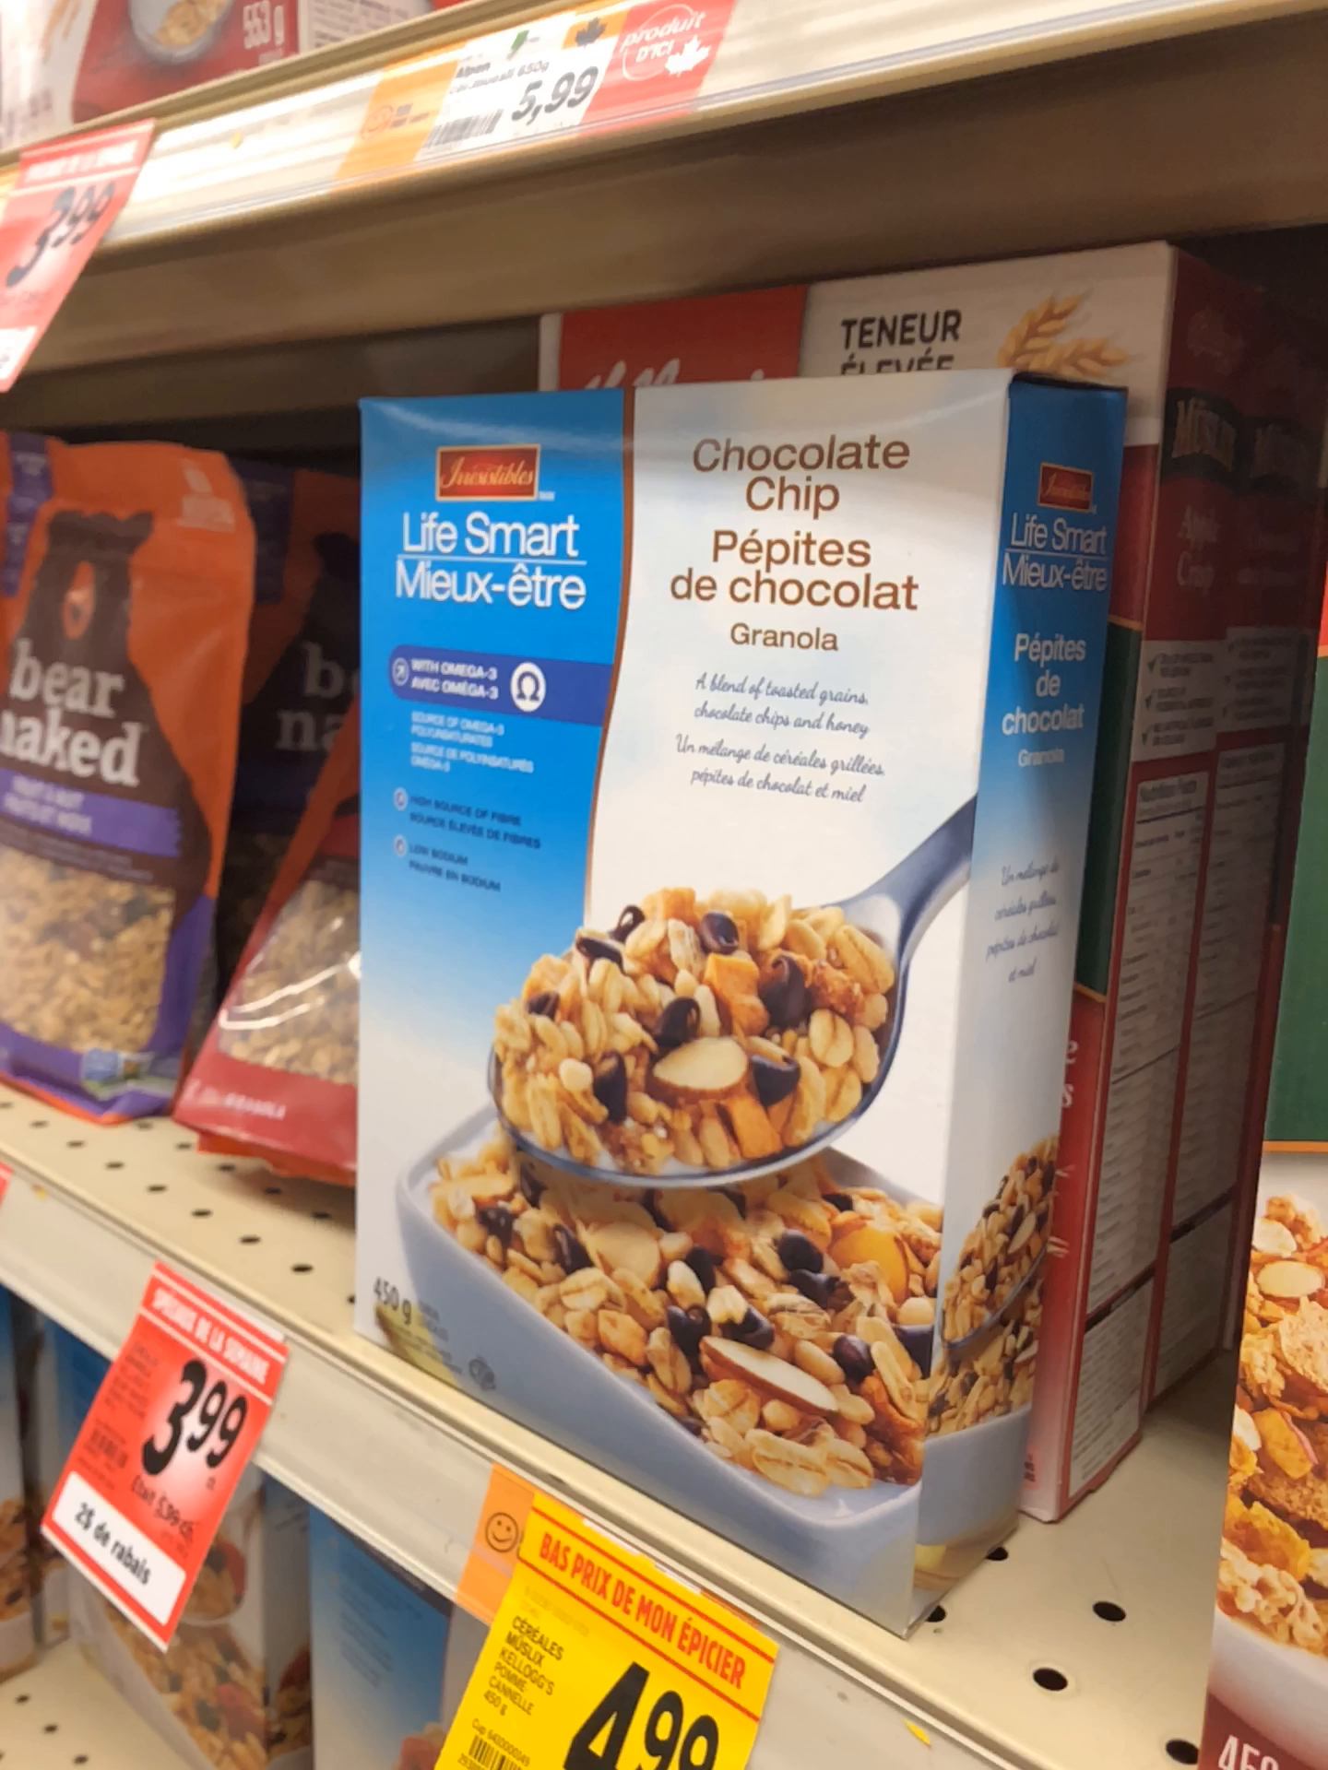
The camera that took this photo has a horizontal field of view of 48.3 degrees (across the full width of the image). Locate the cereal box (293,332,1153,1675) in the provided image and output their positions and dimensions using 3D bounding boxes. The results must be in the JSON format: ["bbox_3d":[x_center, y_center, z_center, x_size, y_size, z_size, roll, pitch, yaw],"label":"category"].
[{"bbox_3d":[-0.002,0.012,0.332,0.180,0.239,0.050,11,11,38],"label":"cereal box"}]
